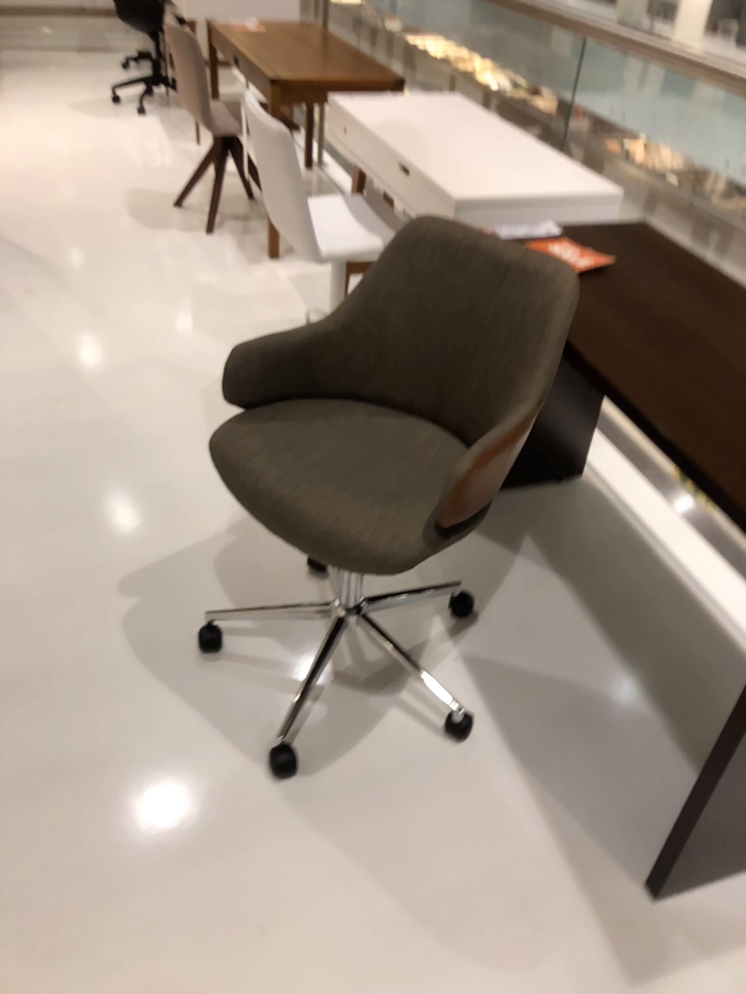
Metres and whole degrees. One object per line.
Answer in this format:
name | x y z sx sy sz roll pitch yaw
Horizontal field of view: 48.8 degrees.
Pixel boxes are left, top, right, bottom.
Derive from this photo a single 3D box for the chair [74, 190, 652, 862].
chair | -0.018 0.010 1.566 0.612 0.883 0.704 29 43 28
